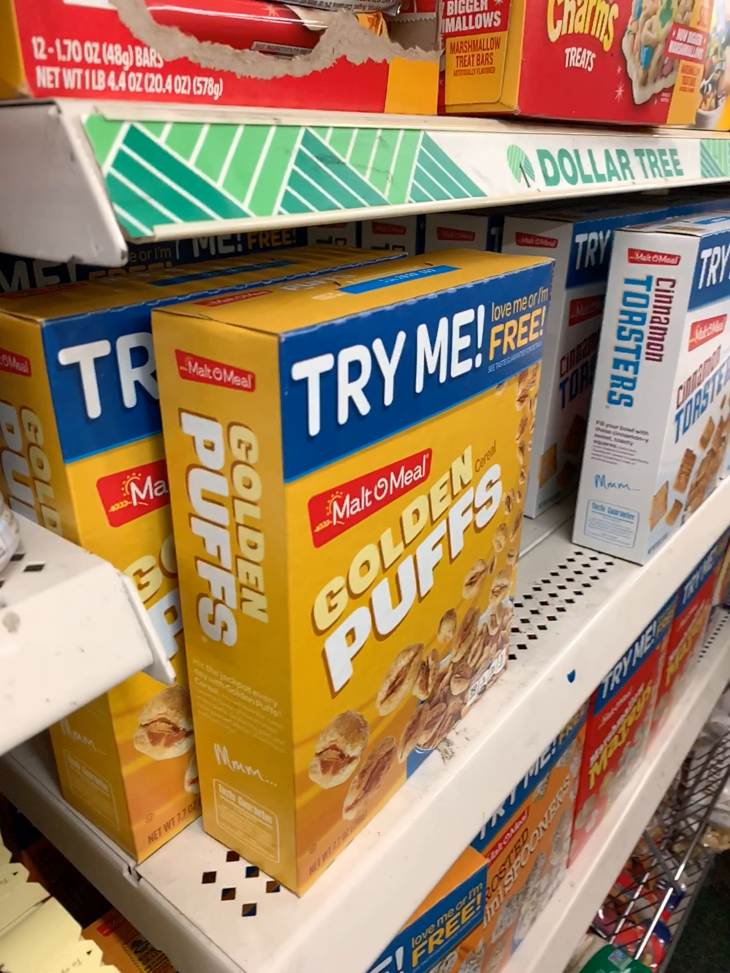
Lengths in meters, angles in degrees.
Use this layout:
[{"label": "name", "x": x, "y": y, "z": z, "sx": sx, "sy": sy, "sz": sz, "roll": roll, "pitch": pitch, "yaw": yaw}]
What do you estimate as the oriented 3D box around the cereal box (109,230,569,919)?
[{"label": "cereal box", "x": 0.007, "y": 0.018, "z": 0.315, "sx": 0.060, "sy": 0.219, "sz": 0.191, "roll": 17, "pitch": 29, "yaw": 33}]
